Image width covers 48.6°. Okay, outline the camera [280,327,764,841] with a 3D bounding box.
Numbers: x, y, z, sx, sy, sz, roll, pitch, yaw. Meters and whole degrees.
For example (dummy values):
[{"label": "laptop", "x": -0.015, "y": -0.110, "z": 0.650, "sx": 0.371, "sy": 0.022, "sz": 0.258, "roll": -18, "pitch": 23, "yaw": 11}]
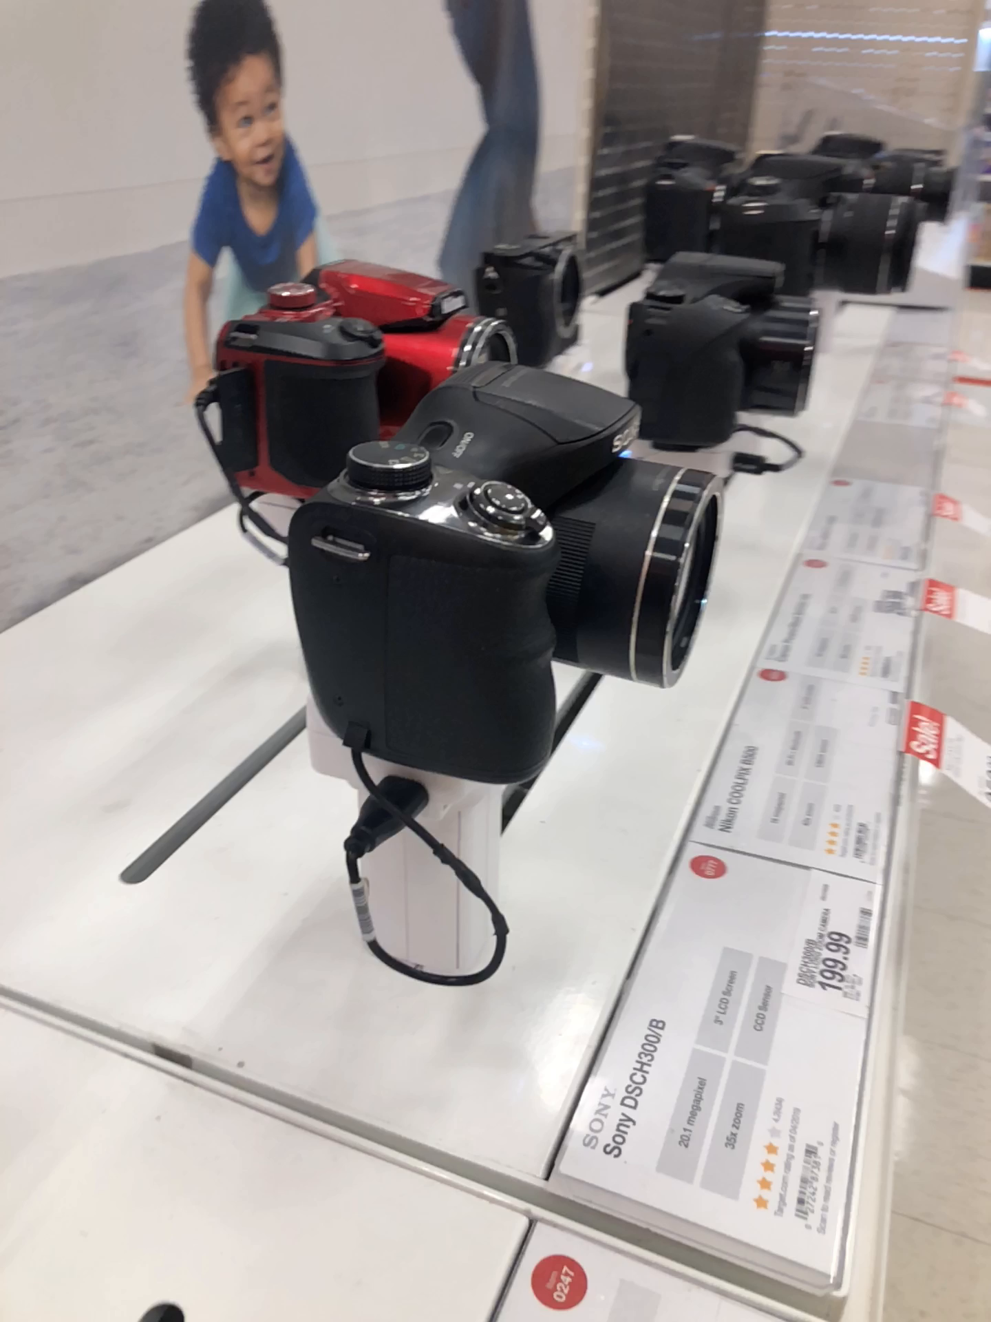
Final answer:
[{"label": "camera", "x": 0.014, "y": -0.033, "z": 0.314, "sx": 0.090, "sy": 0.090, "sz": 0.131, "roll": 12, "pitch": 30, "yaw": 18}]
